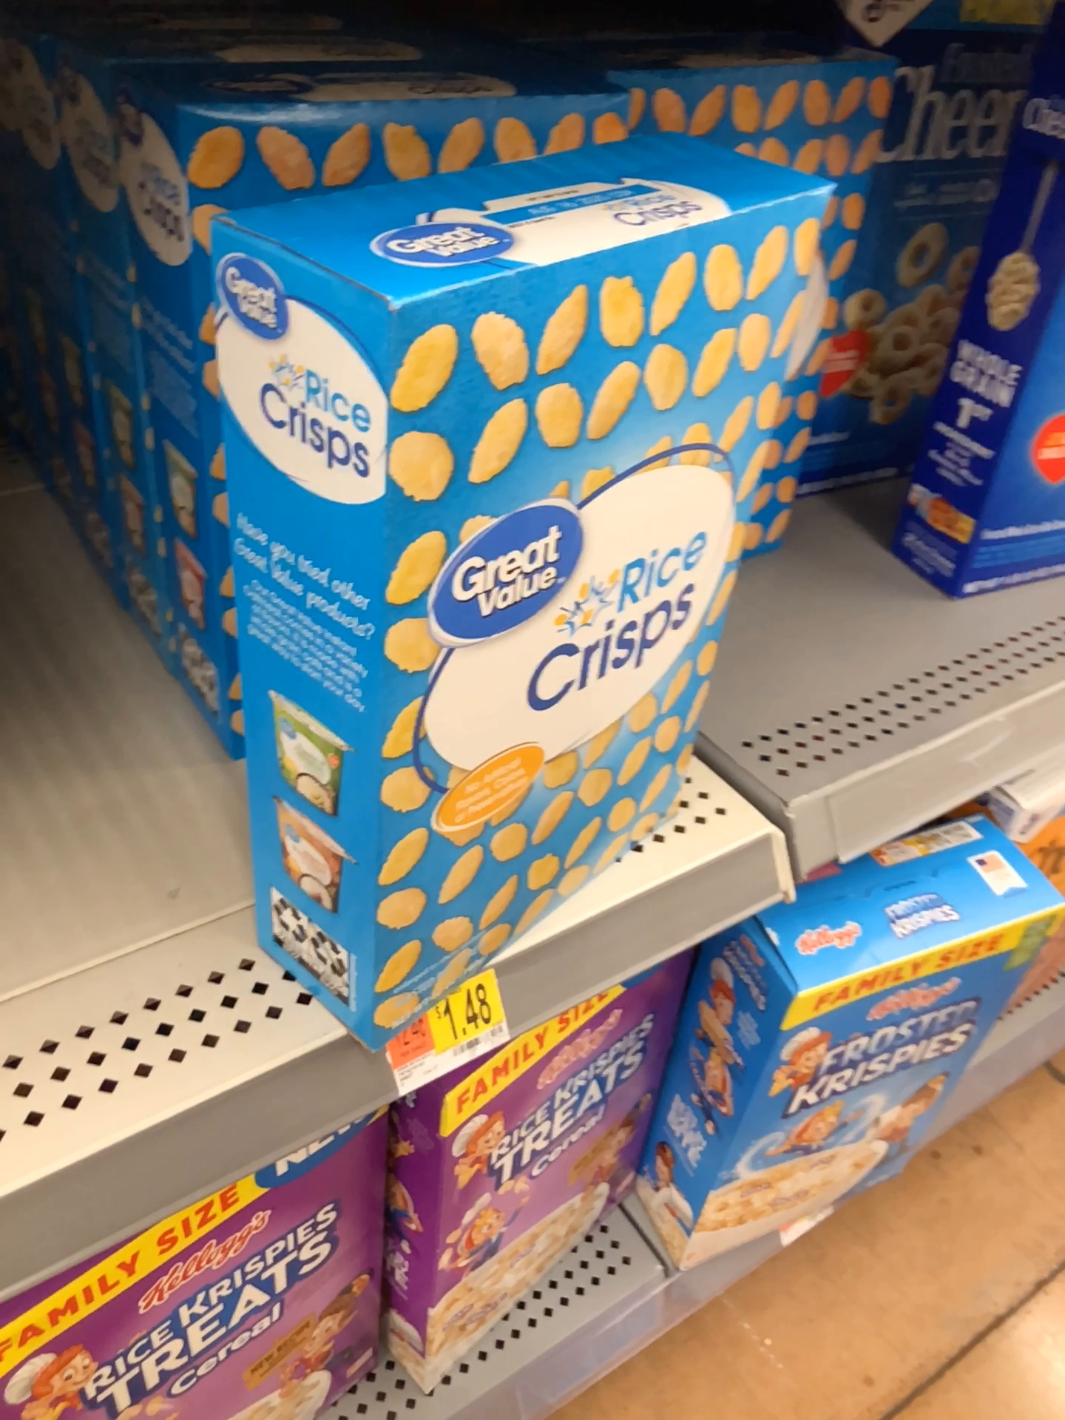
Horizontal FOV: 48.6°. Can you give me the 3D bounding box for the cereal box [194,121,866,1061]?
[{"bbox_3d":[-0.001,-0.039,0.410,0.070,0.269,0.200,33,45,28],"label":"cereal box"}]
